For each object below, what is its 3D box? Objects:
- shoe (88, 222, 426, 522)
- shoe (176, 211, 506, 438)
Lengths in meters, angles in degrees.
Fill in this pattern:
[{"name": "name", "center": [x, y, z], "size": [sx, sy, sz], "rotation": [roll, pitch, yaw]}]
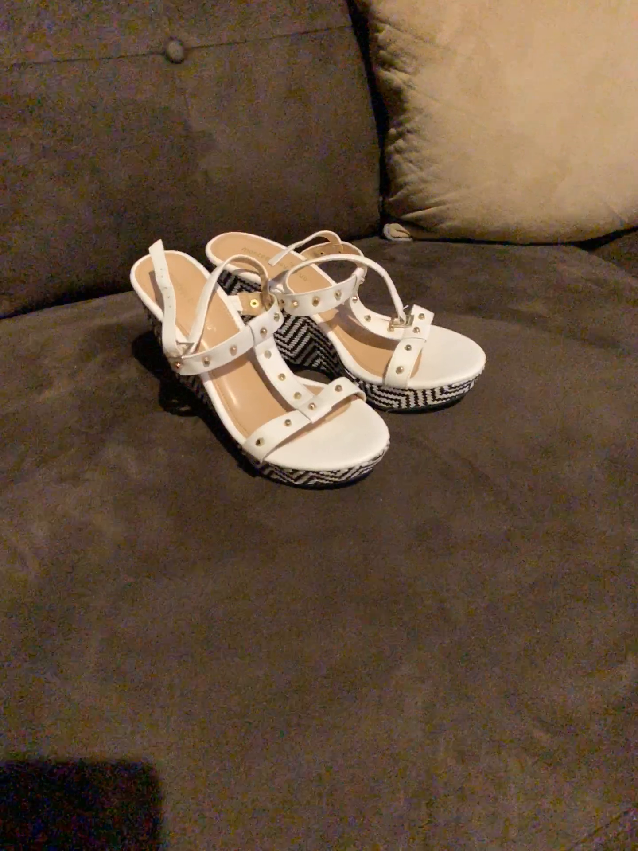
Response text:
[{"name": "shoe", "center": [-0.059, -0.058, 0.514], "size": [0.110, 0.099, 0.261], "rotation": [-30, 49, -33]}, {"name": "shoe", "center": [0.014, -0.096, 0.559], "size": [0.250, 0.099, 0.100], "rotation": [20, 42, 22]}]
